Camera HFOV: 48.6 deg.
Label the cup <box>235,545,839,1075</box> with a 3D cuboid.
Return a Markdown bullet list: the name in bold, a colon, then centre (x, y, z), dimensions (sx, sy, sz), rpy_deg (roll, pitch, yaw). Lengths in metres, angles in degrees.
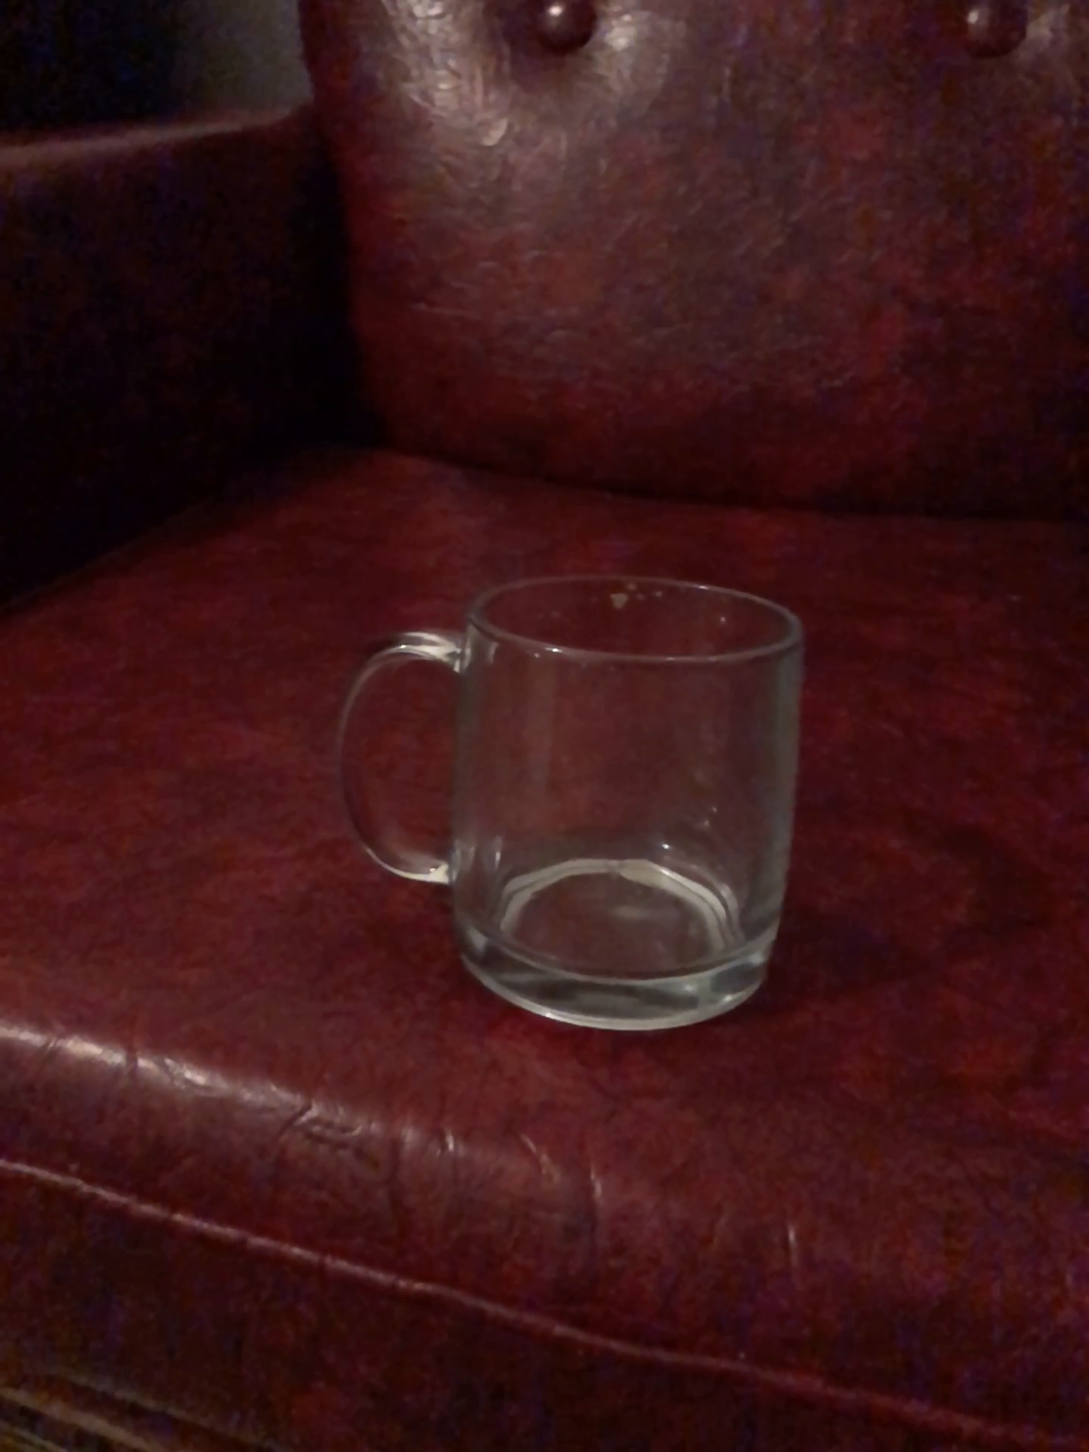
- **cup**: centre (0.003, 0.013, 0.305), dimensions (0.128, 0.090, 0.090), rpy_deg (7, 20, 11)
